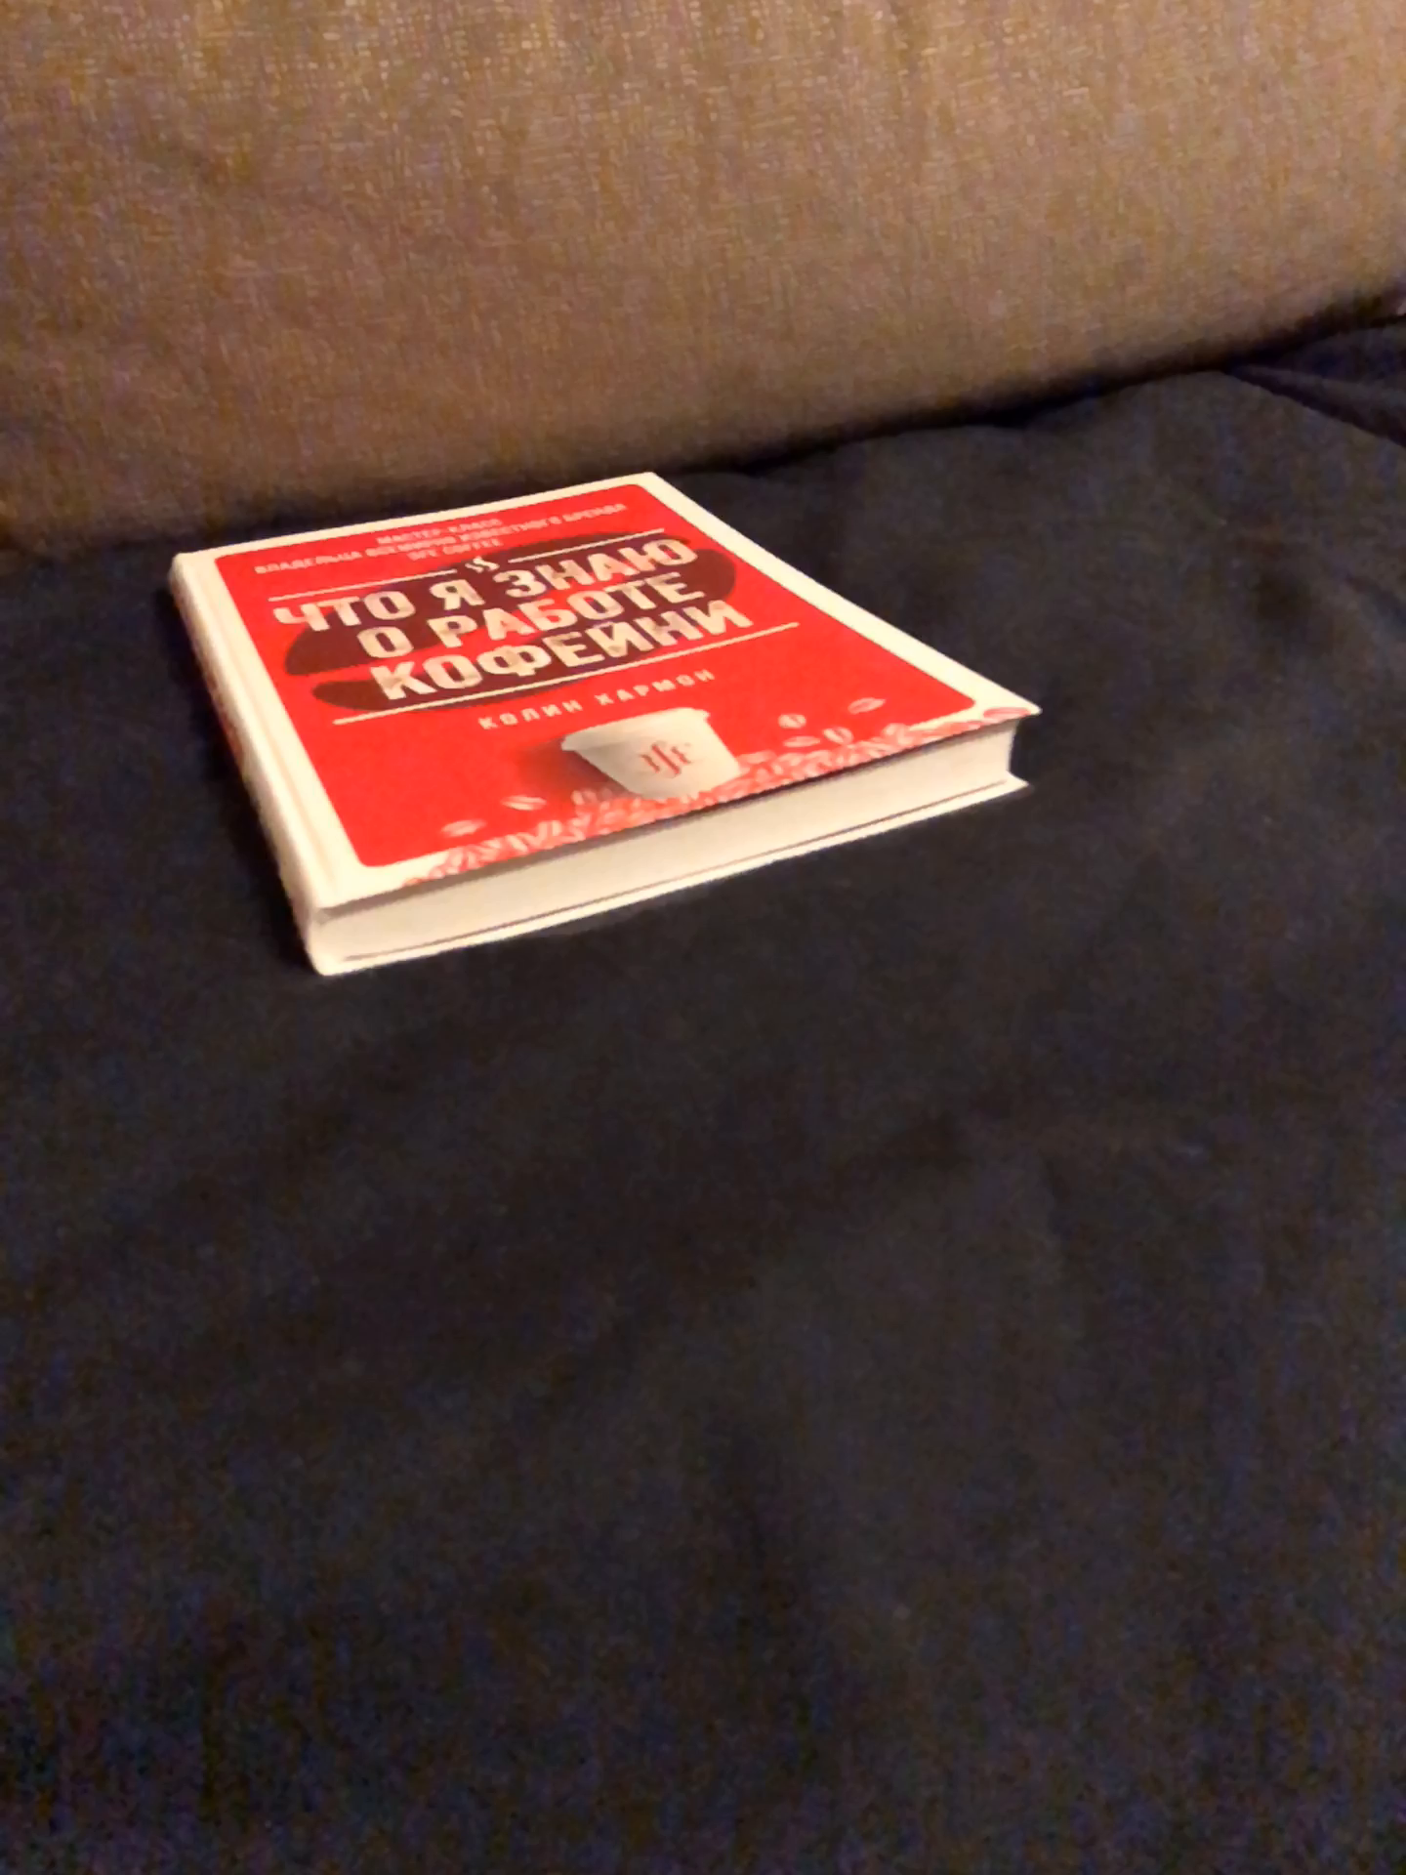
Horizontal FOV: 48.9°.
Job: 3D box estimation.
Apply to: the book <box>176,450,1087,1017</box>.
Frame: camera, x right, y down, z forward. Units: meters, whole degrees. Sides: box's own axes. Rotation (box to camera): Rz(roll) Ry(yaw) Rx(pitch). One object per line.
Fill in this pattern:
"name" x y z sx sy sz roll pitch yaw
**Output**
"book" -0.036 -0.069 0.377 0.153 0.020 0.223 -16 35 -16
